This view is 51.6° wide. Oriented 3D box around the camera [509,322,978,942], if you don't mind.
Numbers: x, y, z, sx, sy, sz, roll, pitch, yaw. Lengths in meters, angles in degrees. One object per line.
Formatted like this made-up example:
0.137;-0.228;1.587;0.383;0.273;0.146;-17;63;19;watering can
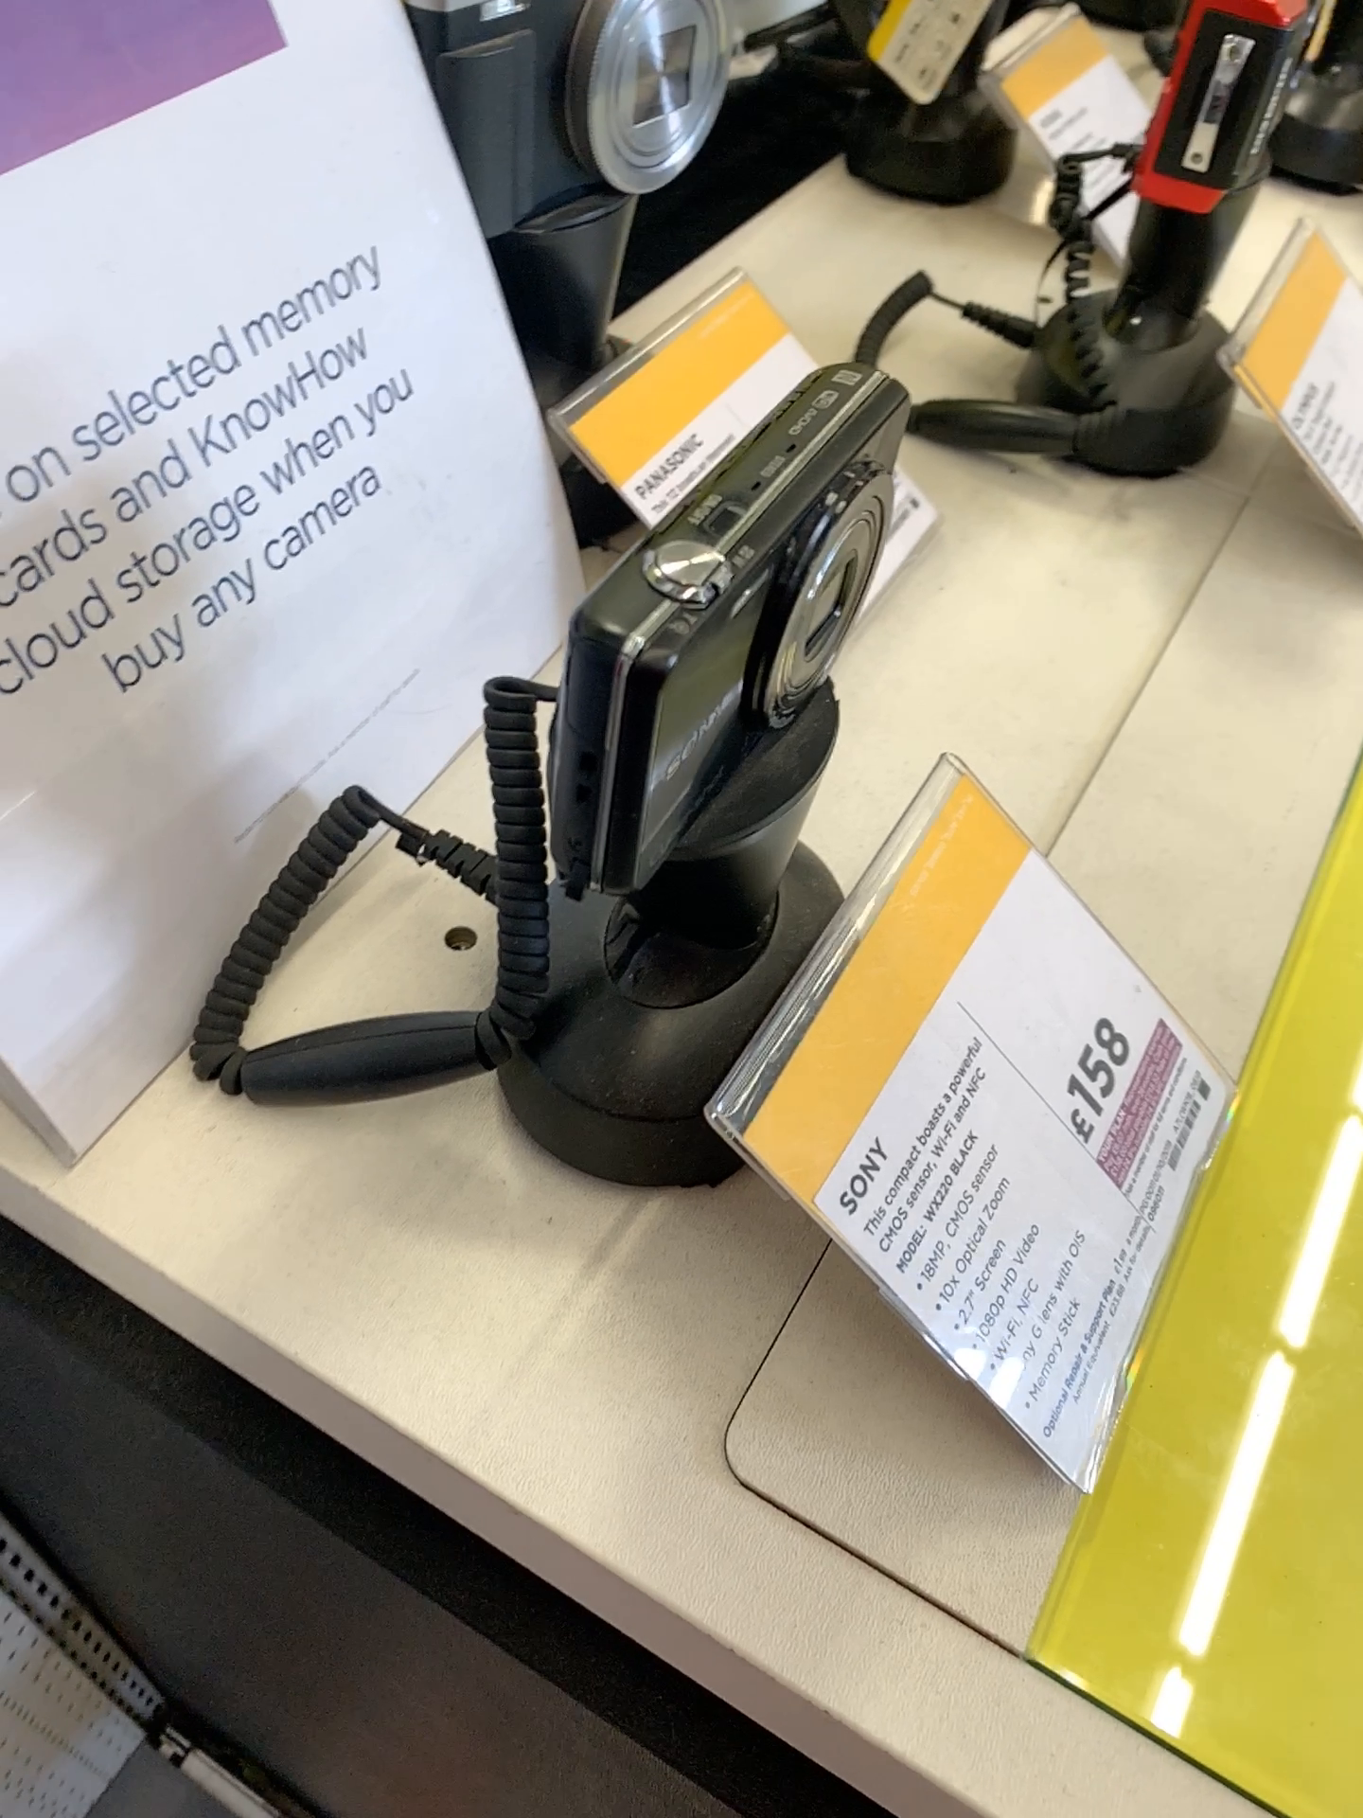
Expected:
0.012;-0.049;0.235;0.030;0.050;0.101;26;52;14;camera
